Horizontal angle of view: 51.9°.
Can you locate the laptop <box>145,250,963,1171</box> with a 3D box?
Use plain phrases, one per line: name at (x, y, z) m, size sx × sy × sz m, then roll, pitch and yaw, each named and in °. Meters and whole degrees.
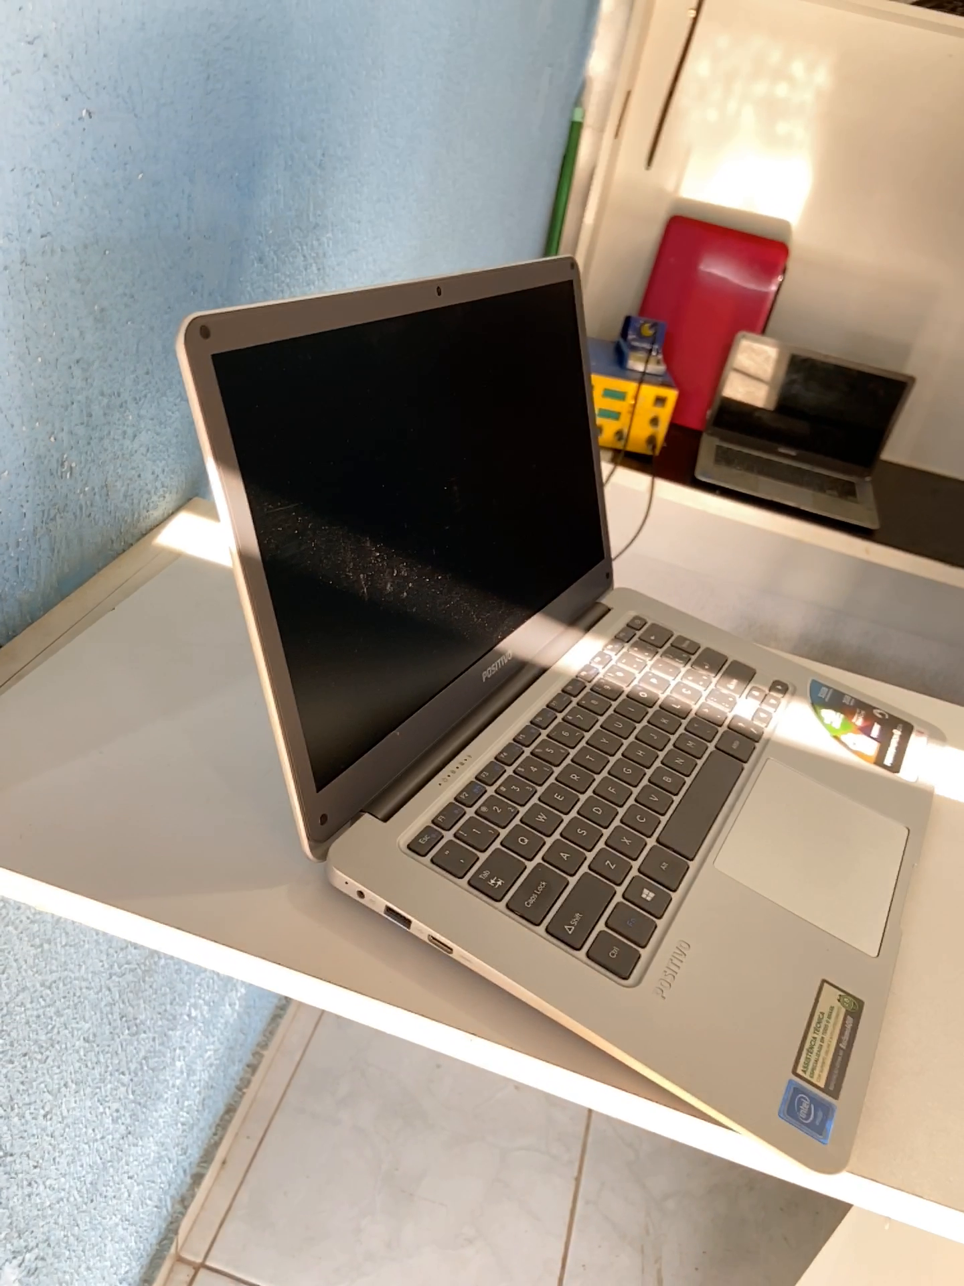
laptop at (0.085, -0.030, 0.464) m, size 0.311 × 0.189 × 0.335 m, roll 26°, pitch 32°, yaw 18°
